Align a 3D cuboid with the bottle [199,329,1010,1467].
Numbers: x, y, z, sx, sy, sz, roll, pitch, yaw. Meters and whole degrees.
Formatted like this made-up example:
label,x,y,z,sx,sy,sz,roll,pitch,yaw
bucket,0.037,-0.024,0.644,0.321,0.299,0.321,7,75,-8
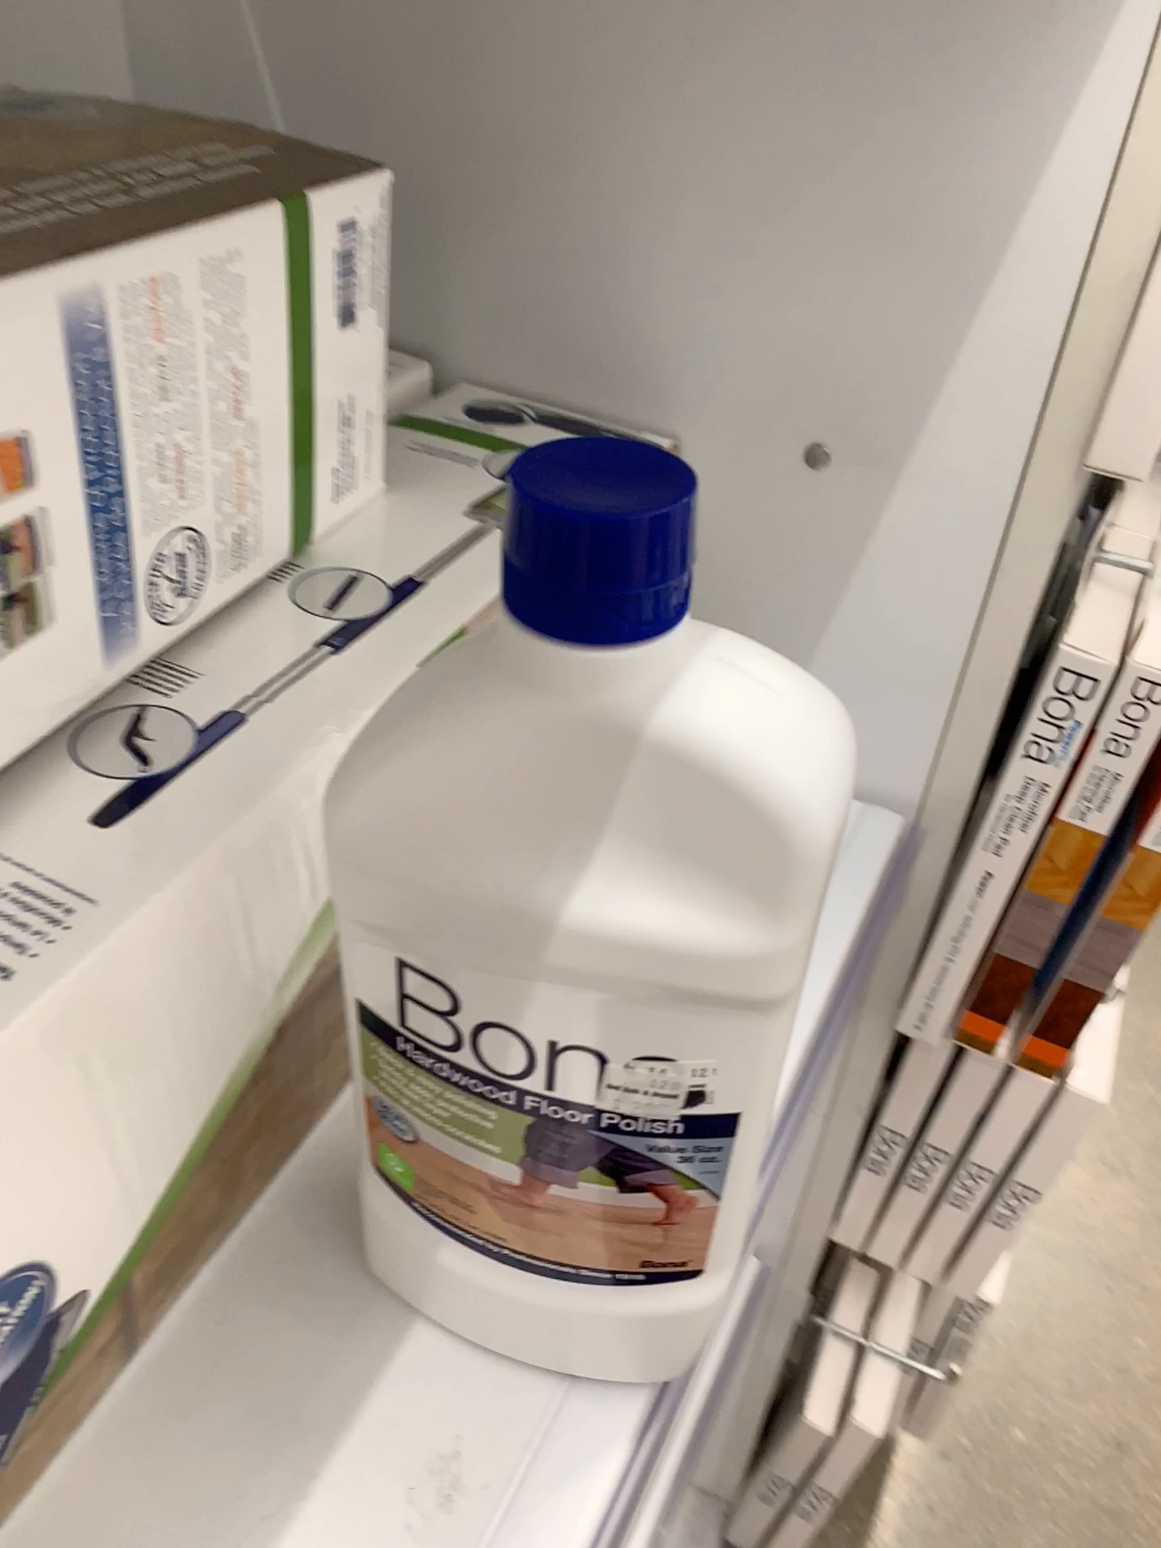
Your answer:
label,x,y,z,sx,sy,sz,roll,pitch,yaw
bottle,0.000,0.048,0.277,0.120,0.259,0.070,13,38,10
